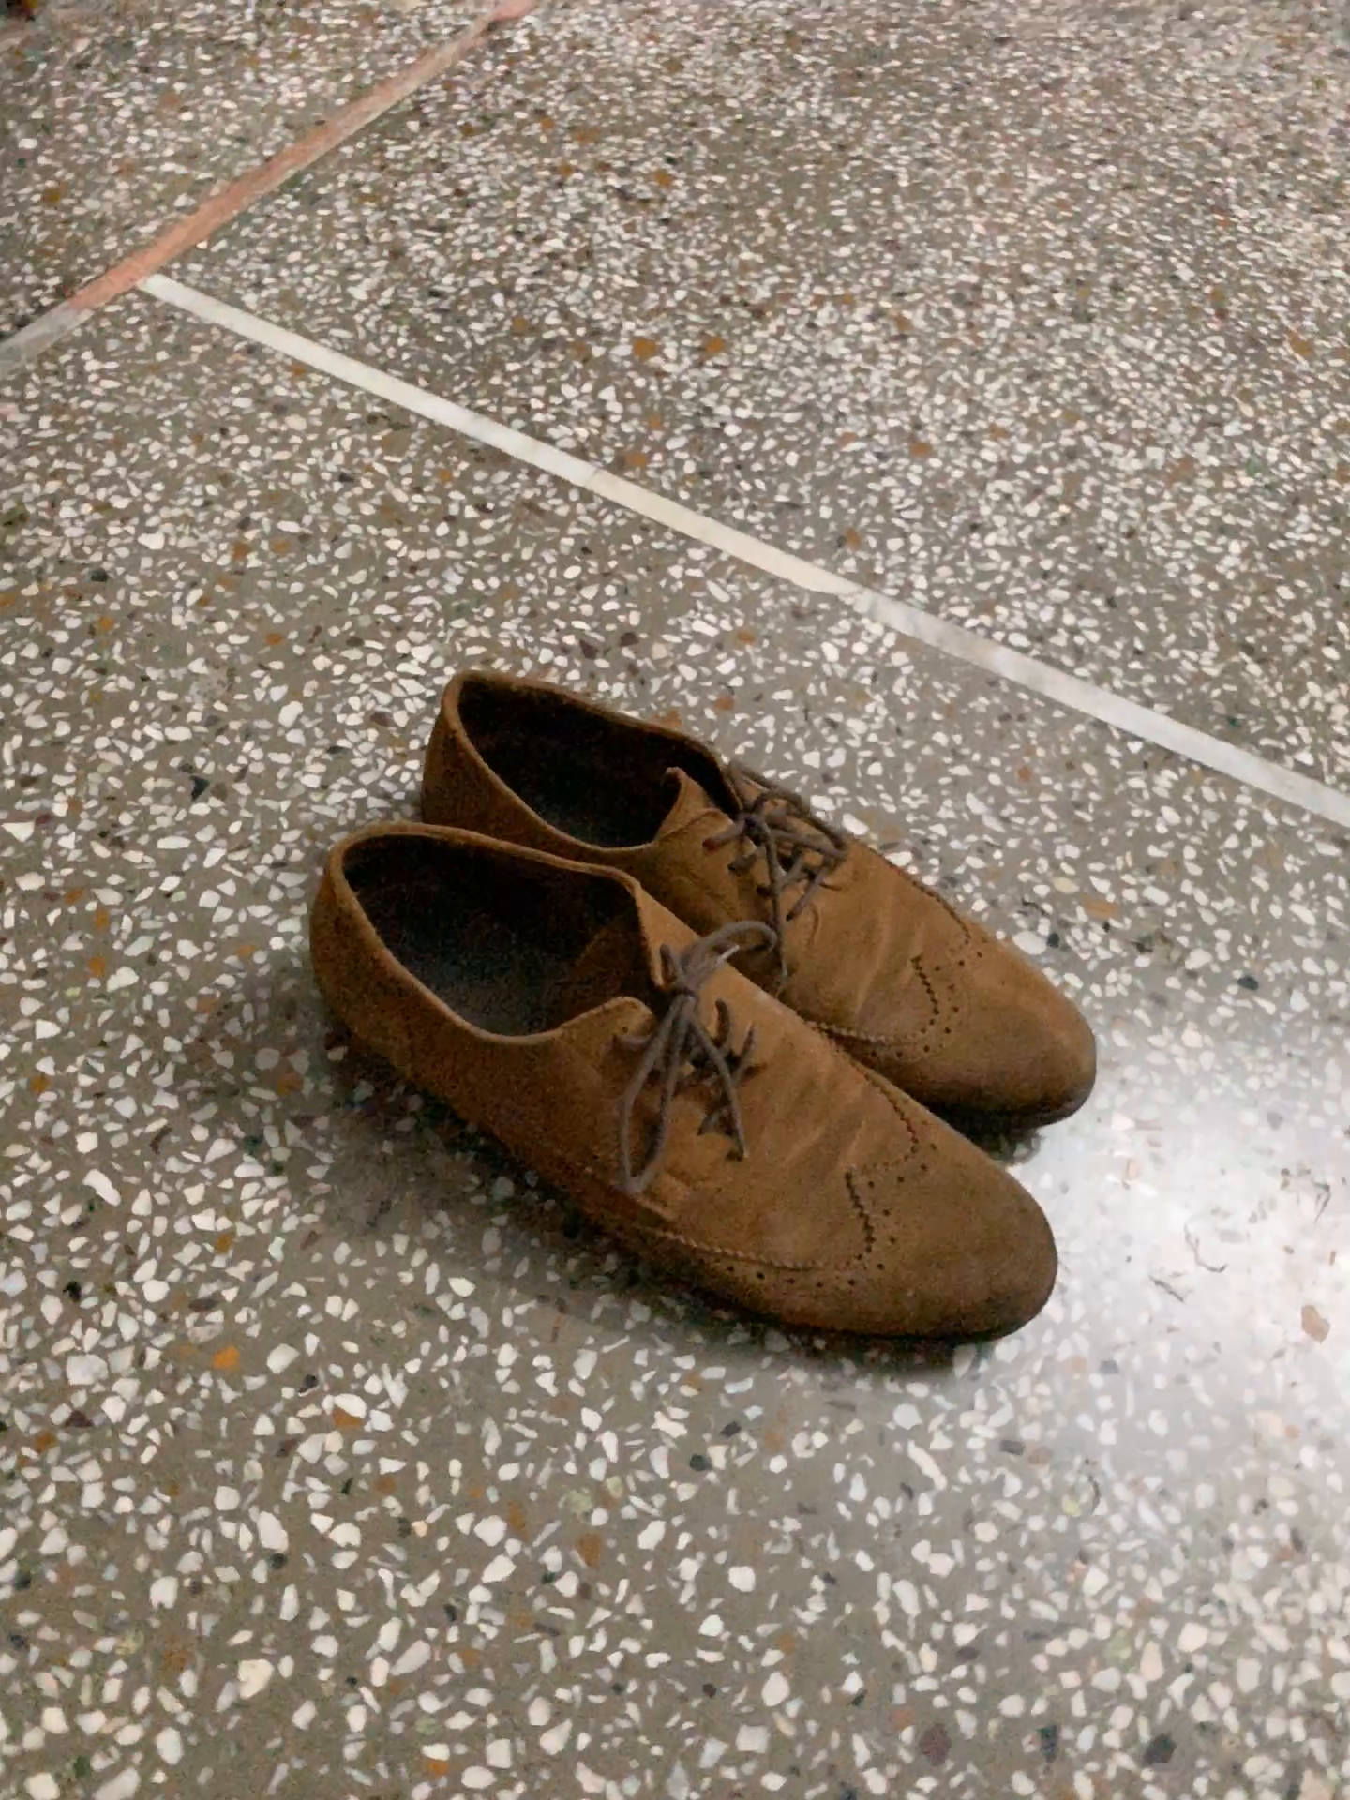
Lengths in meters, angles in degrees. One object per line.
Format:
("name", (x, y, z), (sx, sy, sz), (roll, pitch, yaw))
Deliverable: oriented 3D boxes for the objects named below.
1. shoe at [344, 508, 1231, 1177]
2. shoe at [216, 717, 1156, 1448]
("shoe", (0.035, -0.023, 0.544), (0.310, 0.110, 0.100), (25, 57, 8))
("shoe", (-0.003, 0.066, 0.514), (0.310, 0.110, 0.100), (27, 58, 9))
